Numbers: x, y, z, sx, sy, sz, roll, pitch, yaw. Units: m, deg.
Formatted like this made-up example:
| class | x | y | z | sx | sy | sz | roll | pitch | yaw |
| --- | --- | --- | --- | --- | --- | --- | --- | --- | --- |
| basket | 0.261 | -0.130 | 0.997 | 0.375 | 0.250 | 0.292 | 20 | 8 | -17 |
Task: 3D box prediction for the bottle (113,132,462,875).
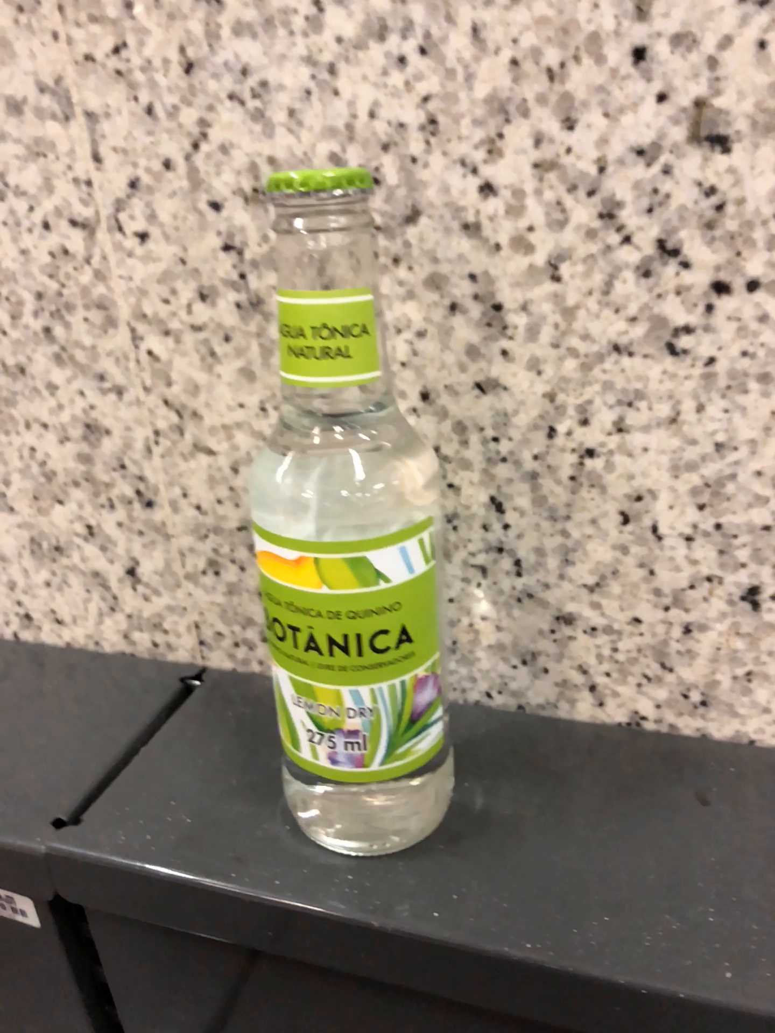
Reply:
| class | x | y | z | sx | sy | sz | roll | pitch | yaw |
| --- | --- | --- | --- | --- | --- | --- | --- | --- | --- |
| bottle | -0.017 | 0.003 | 0.258 | 0.060 | 0.208 | 0.060 | -4 | 26 | 2 |
